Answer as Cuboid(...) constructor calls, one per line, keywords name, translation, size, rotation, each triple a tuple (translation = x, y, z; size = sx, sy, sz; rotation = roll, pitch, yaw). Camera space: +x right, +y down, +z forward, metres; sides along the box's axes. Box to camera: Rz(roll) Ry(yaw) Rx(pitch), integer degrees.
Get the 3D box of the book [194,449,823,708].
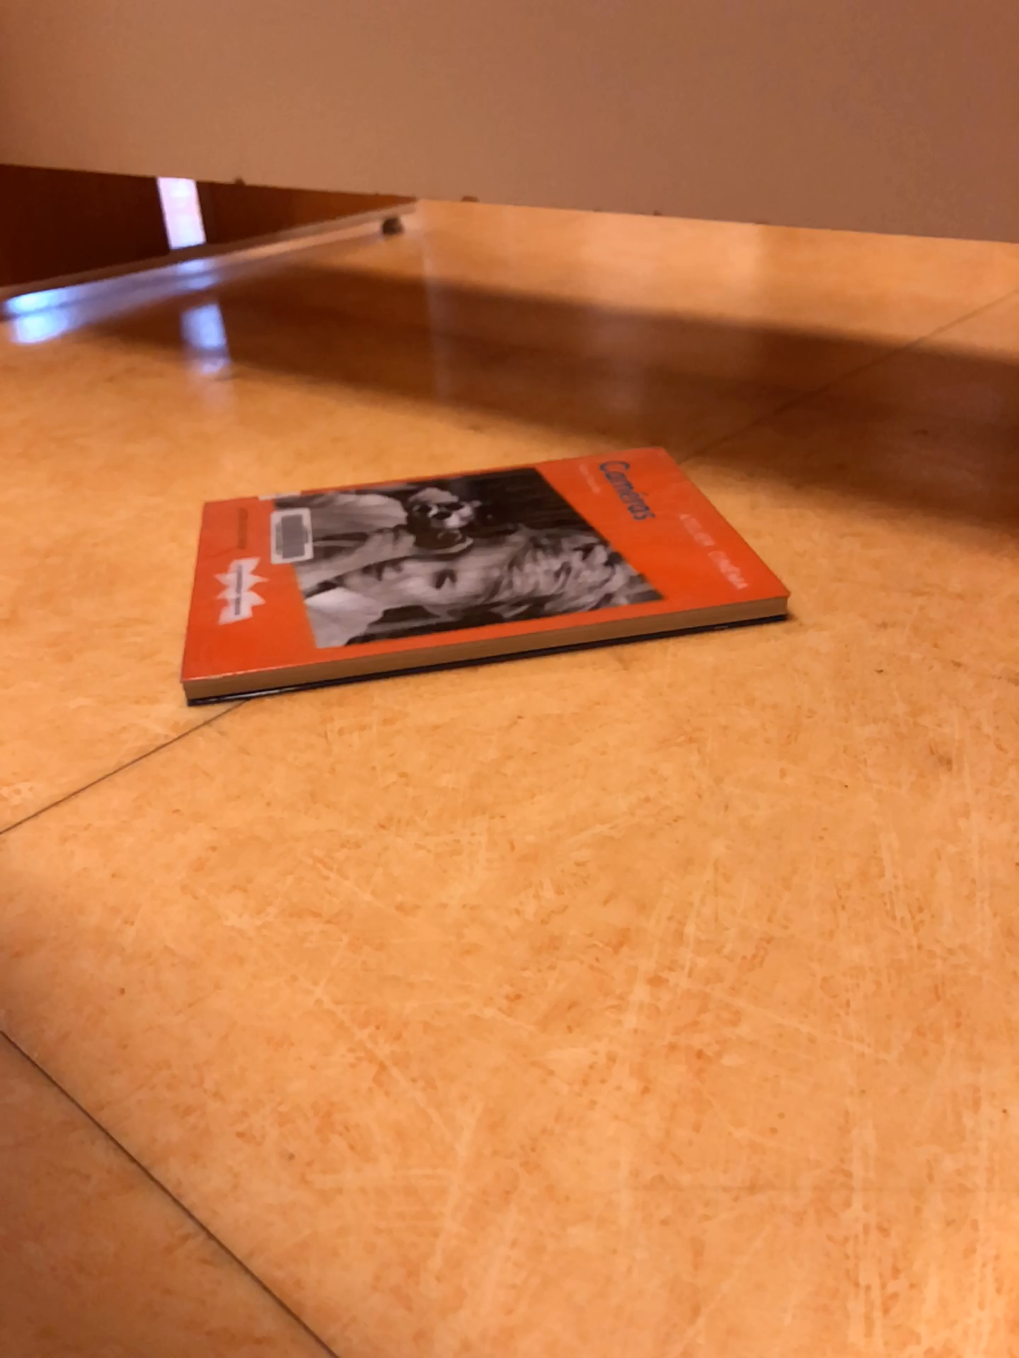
Cuboid(name="book", translation=(-0.009, -0.047, 0.433), size=(0.205, 0.011, 0.156), rotation=(-7, 30, -7))
